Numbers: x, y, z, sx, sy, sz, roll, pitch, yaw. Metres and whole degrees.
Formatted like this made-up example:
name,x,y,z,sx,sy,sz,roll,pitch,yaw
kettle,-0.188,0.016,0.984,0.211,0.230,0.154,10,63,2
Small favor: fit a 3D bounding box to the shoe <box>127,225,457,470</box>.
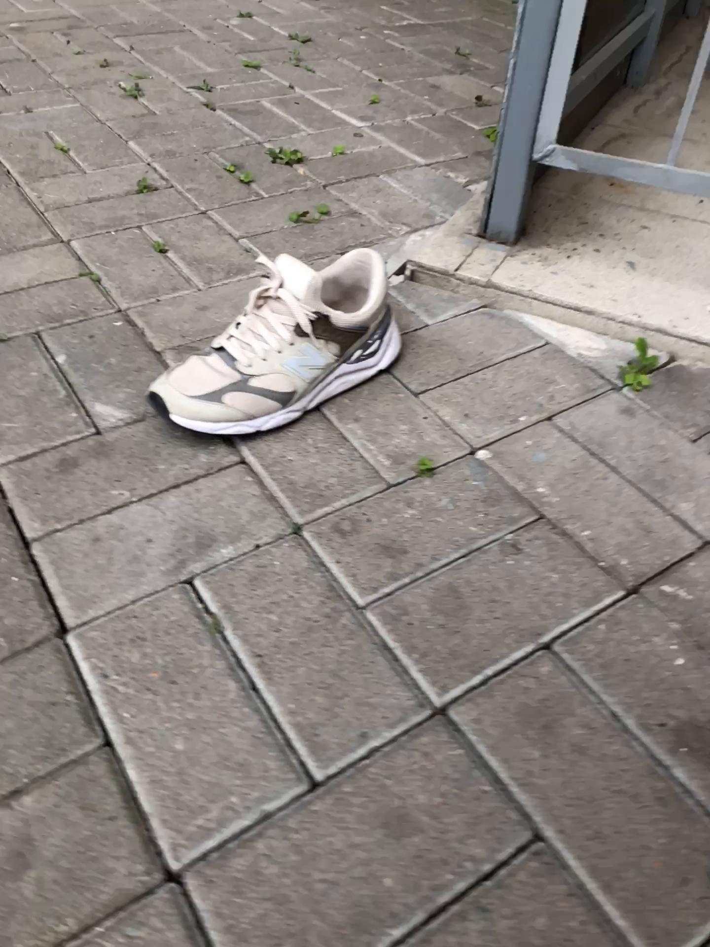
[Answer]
name,x,y,z,sx,sy,sz,roll,pitch,yaw
shoe,-0.053,-0.137,0.769,0.301,0.109,0.120,-28,50,-32
